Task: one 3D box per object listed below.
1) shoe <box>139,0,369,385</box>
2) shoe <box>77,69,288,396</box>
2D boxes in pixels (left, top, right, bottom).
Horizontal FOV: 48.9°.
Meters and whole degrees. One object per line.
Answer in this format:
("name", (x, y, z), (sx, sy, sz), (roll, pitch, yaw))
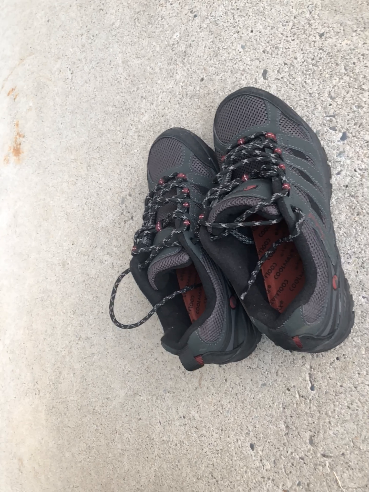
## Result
("shoe", (0.069, -0.045, 0.379), (0.120, 0.109, 0.300), (-26, 70, 33))
("shoe", (-0.011, -0.013, 0.444), (0.120, 0.109, 0.303), (-26, 70, 33))
